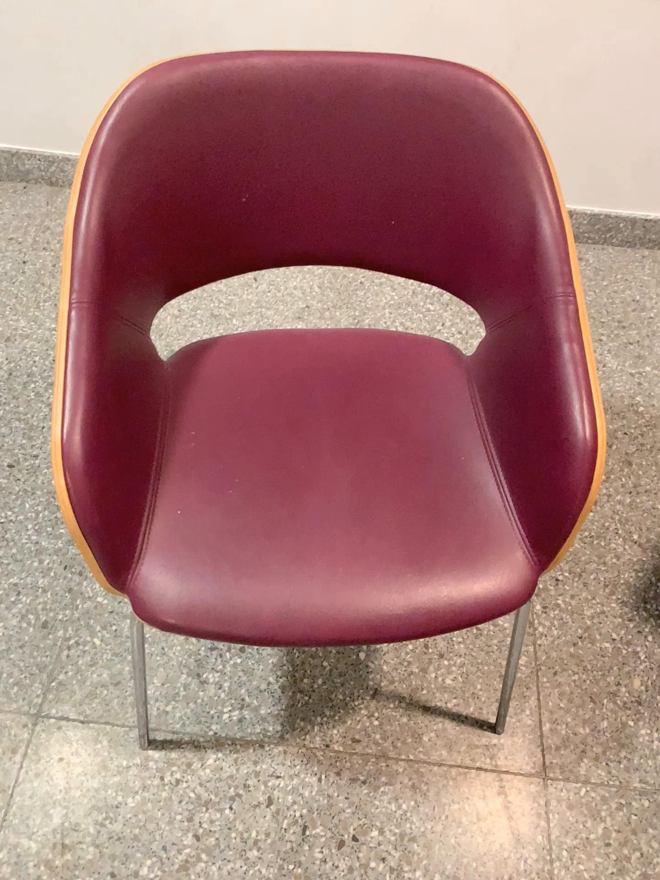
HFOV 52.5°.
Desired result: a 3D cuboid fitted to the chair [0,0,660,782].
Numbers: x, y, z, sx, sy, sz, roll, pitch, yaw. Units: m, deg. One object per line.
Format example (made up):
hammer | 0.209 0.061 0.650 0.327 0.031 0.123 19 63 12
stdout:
chair | -0.007 0.003 0.831 0.570 0.734 0.635 -1 55 -4
